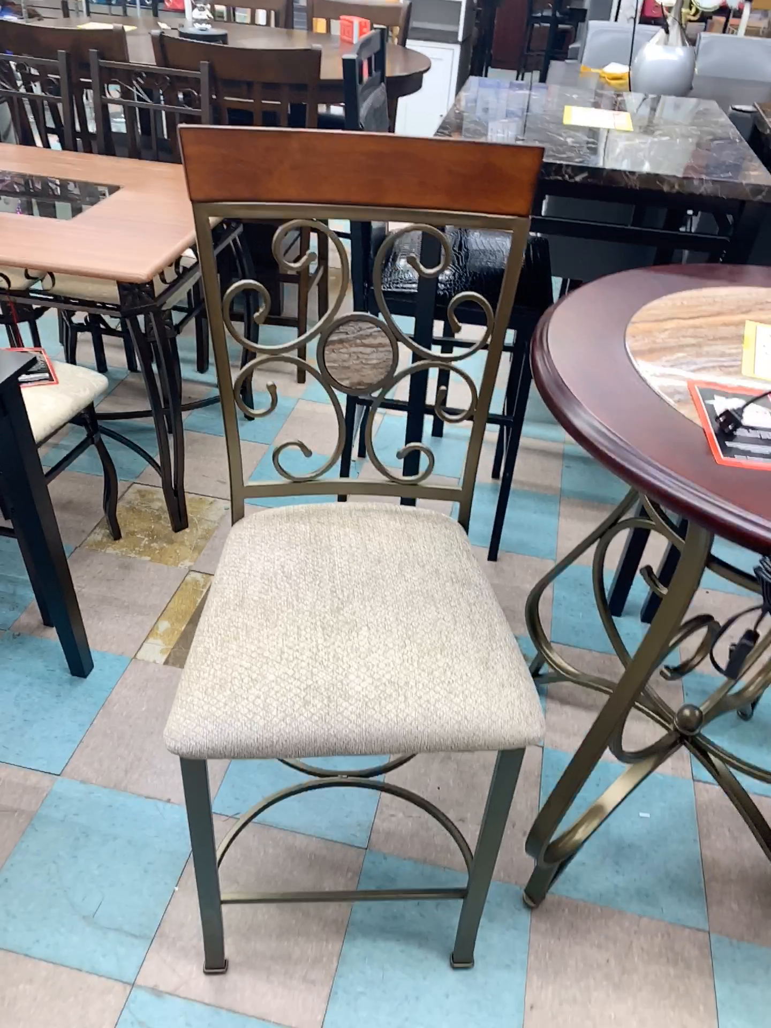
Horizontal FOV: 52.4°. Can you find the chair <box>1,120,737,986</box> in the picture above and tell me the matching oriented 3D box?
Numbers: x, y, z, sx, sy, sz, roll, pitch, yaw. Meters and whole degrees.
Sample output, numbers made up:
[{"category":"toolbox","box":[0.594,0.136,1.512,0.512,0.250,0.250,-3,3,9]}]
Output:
[{"category":"chair","box":[-0.053,0.105,1.104,0.510,1.052,0.611,1,38,-5]}]
